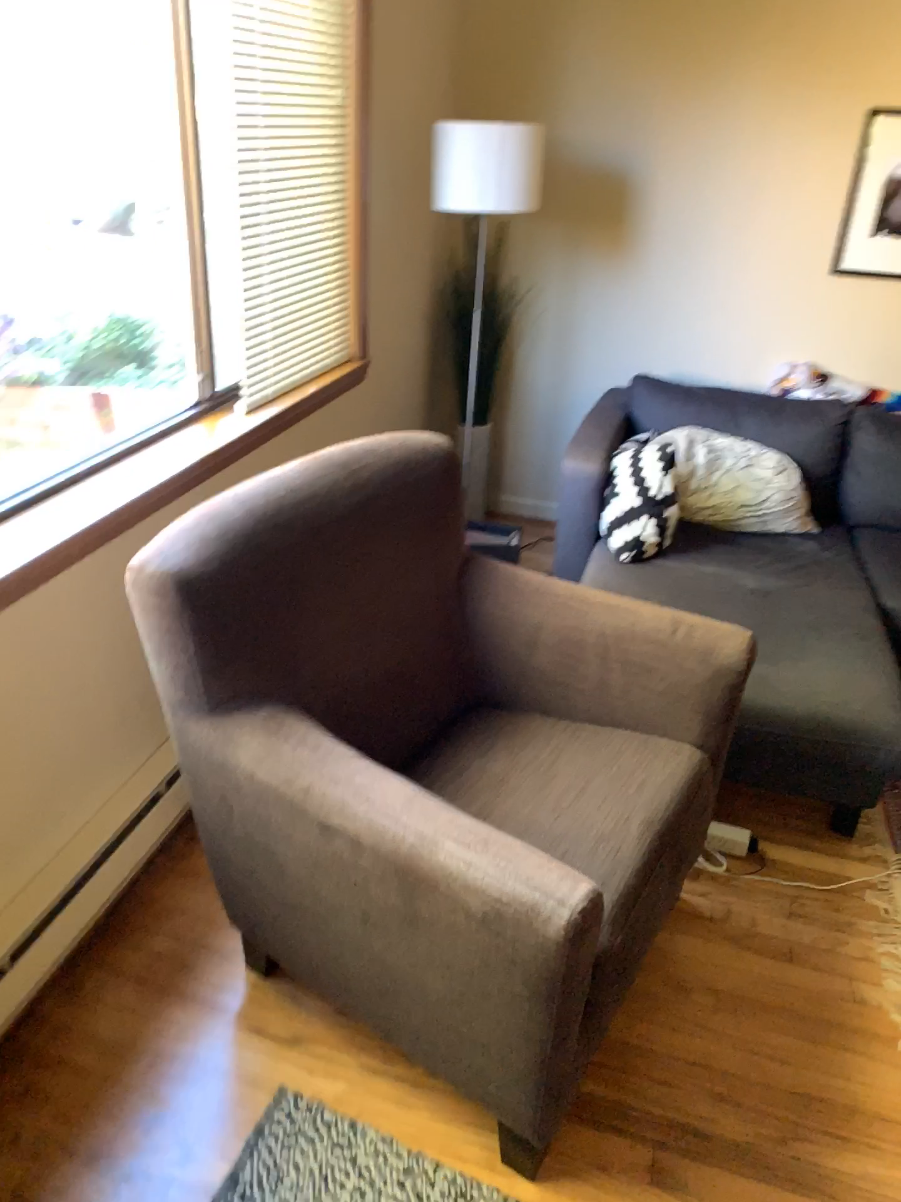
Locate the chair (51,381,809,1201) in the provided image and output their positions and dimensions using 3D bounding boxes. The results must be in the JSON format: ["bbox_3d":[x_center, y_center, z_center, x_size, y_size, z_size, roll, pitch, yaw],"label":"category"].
[{"bbox_3d":[0.033,0.201,1.567,0.802,0.875,0.883,15,29,26],"label":"chair"}]
